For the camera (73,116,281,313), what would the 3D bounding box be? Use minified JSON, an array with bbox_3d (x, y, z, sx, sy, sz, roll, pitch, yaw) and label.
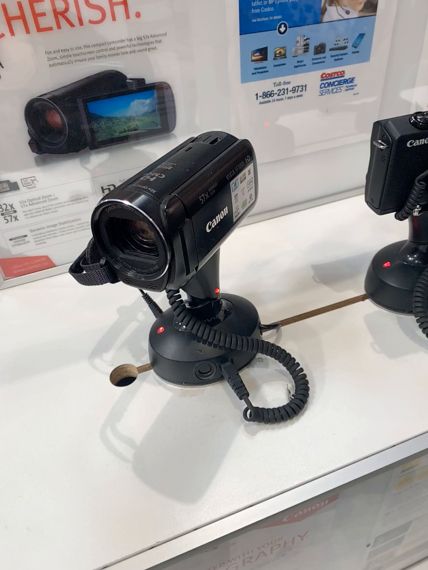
[{"bbox_3d":[-0.011,-0.047,0.247,0.058,0.054,0.114,15,41,23],"label":"camera"}]
